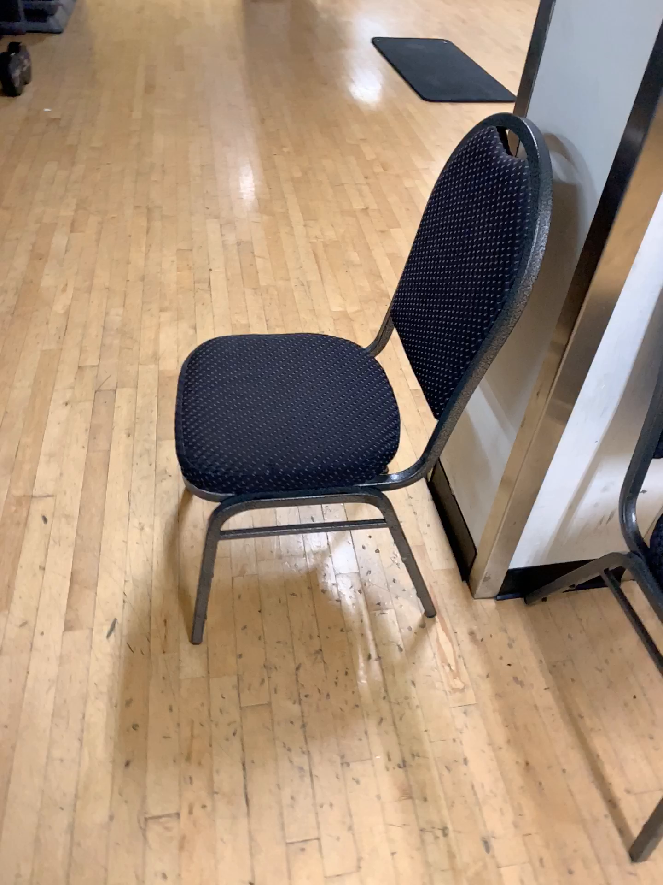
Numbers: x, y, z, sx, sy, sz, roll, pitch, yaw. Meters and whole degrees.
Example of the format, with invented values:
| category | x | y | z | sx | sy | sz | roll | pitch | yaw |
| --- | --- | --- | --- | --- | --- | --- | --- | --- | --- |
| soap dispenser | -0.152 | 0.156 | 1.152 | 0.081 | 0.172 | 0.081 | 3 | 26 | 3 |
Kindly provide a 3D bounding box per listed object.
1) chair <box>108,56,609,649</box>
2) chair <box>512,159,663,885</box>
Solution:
| category | x | y | z | sx | sy | sz | roll | pitch | yaw |
| --- | --- | --- | --- | --- | --- | --- | --- | --- | --- |
| chair | -0.021 | -0.105 | 1.204 | 0.553 | 0.921 | 0.463 | -3 | 44 | -9 |
| chair | 0.685 | 0.170 | 0.970 | 0.461 | 0.921 | 0.556 | -2 | 44 | -8 |
